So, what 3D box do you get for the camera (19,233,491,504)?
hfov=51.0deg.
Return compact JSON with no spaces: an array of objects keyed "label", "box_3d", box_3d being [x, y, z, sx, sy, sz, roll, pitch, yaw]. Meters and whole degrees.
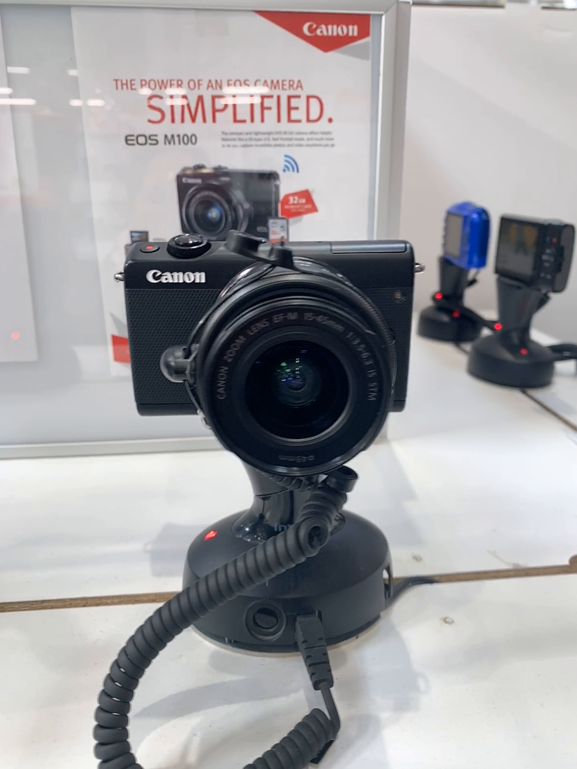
[{"label":"camera","box_3d":[-0.008,-0.014,0.193,0.110,0.066,0.093,-1,14,-1]}]
